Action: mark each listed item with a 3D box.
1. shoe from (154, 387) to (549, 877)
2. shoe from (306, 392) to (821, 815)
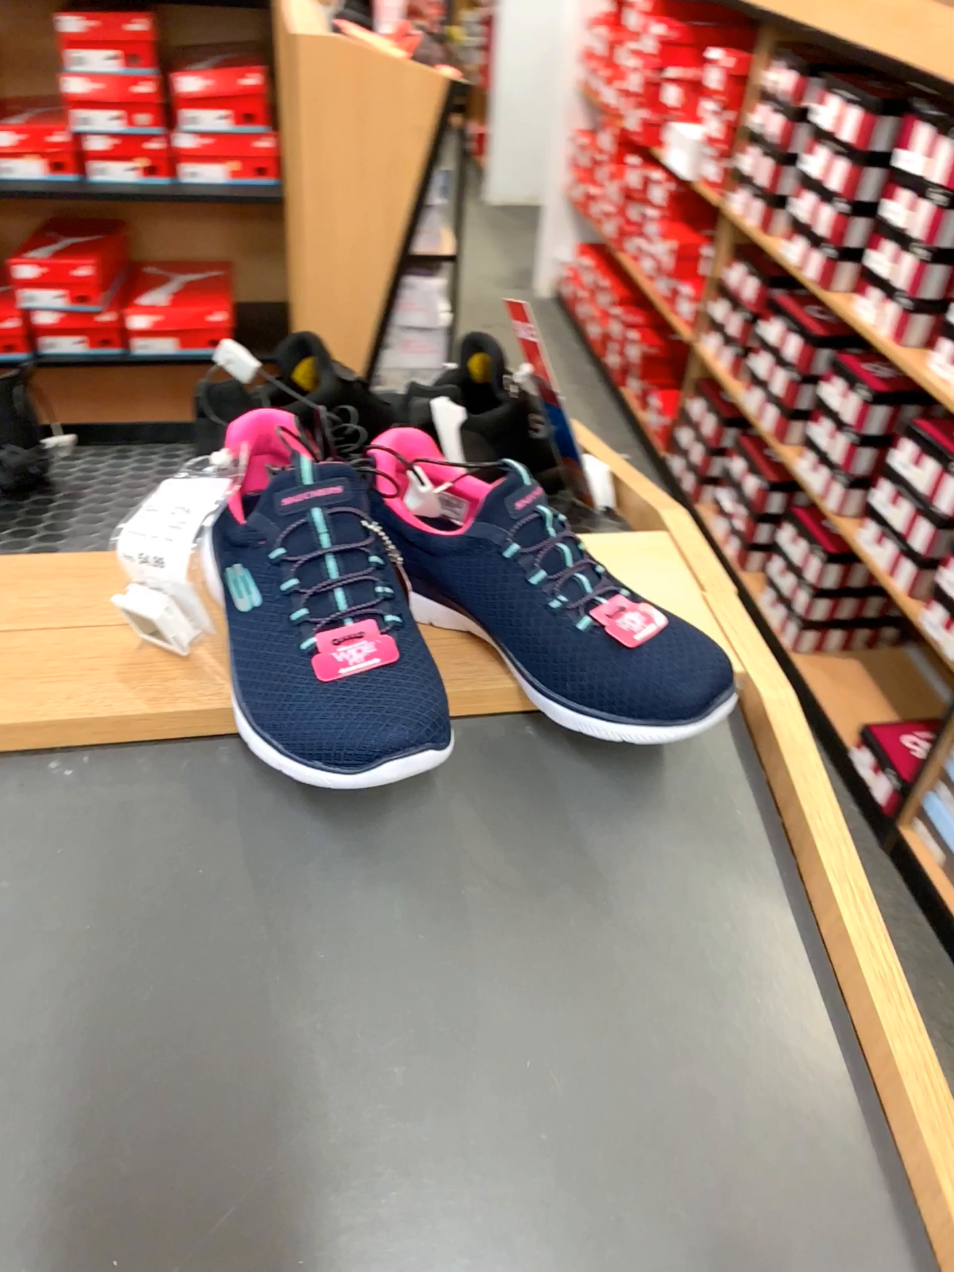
[{"bbox_3d":[-0.077,-0.020,0.502,0.110,0.099,0.251,-14,43,-22],"label":"shoe"},{"bbox_3d":[0.033,-0.032,0.533,0.261,0.090,0.100,32,46,29],"label":"shoe"}]
